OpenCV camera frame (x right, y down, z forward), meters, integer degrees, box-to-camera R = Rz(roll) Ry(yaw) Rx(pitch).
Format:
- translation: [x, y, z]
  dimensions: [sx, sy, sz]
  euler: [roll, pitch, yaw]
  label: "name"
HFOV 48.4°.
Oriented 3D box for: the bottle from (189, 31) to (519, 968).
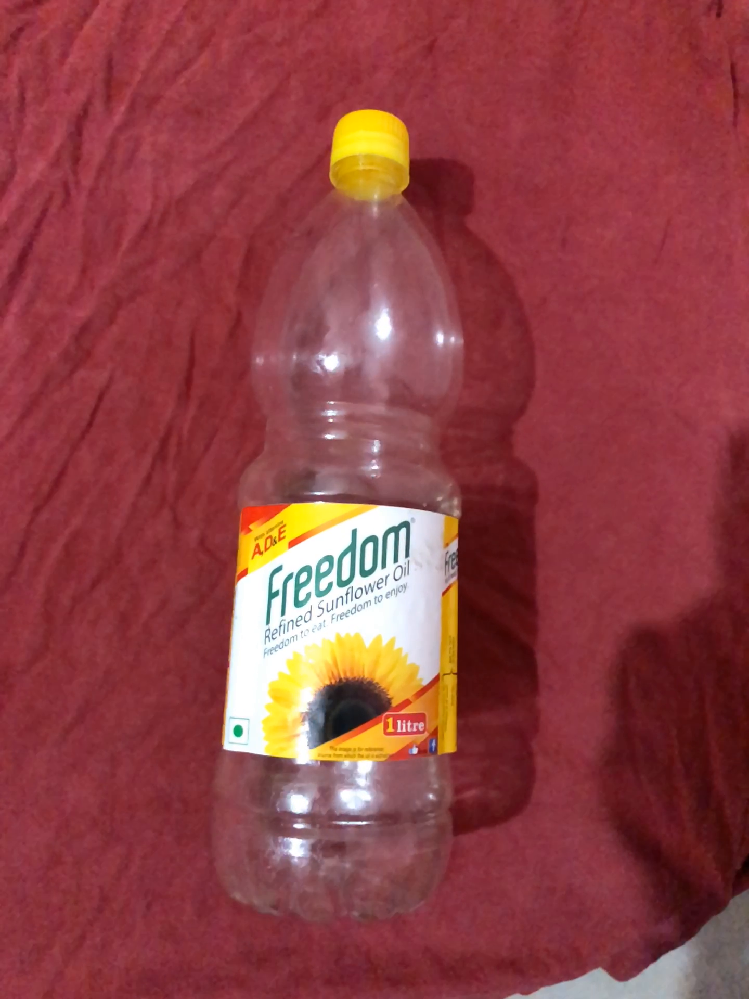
- translation: [-0.007, -0.003, 0.278]
  dimensions: [0.080, 0.060, 0.270]
  euler: [6, 83, -16]
  label: "bottle"
